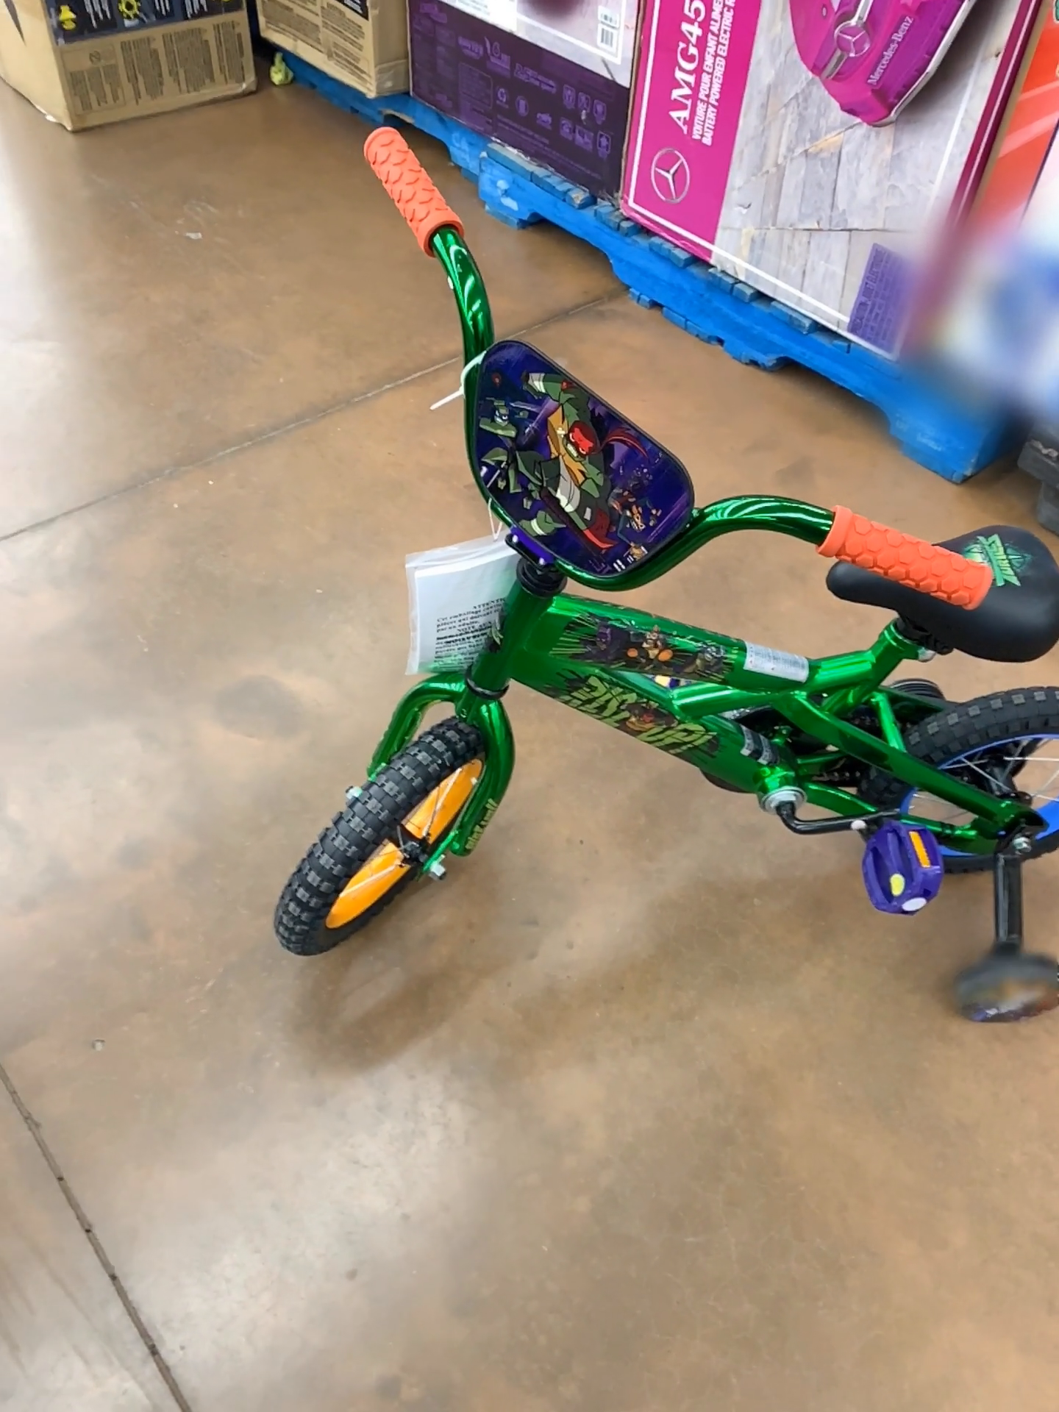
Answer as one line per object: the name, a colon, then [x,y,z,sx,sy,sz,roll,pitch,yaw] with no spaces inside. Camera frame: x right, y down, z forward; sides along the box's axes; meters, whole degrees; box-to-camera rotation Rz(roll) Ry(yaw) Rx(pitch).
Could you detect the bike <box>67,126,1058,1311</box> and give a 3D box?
bike: [0.224,0.010,0.854,0.829,0.677,0.533,-4,49,-9]
